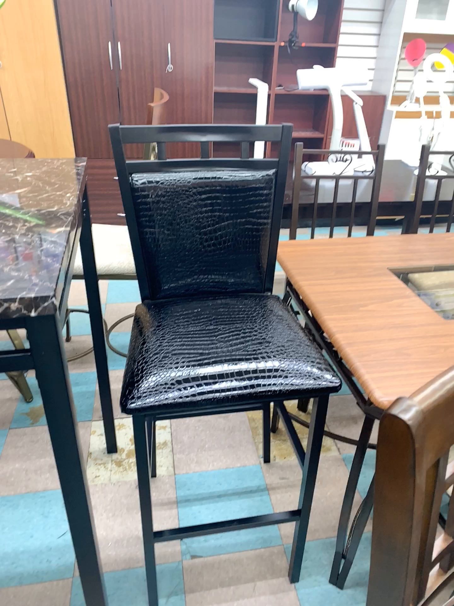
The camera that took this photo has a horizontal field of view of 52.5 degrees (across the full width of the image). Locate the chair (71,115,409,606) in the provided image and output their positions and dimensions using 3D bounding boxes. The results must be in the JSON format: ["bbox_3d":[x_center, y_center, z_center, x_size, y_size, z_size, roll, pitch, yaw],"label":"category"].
[{"bbox_3d":[-0.013,0.161,1.028,0.444,1.025,0.419,-4,30,-8],"label":"chair"}]
